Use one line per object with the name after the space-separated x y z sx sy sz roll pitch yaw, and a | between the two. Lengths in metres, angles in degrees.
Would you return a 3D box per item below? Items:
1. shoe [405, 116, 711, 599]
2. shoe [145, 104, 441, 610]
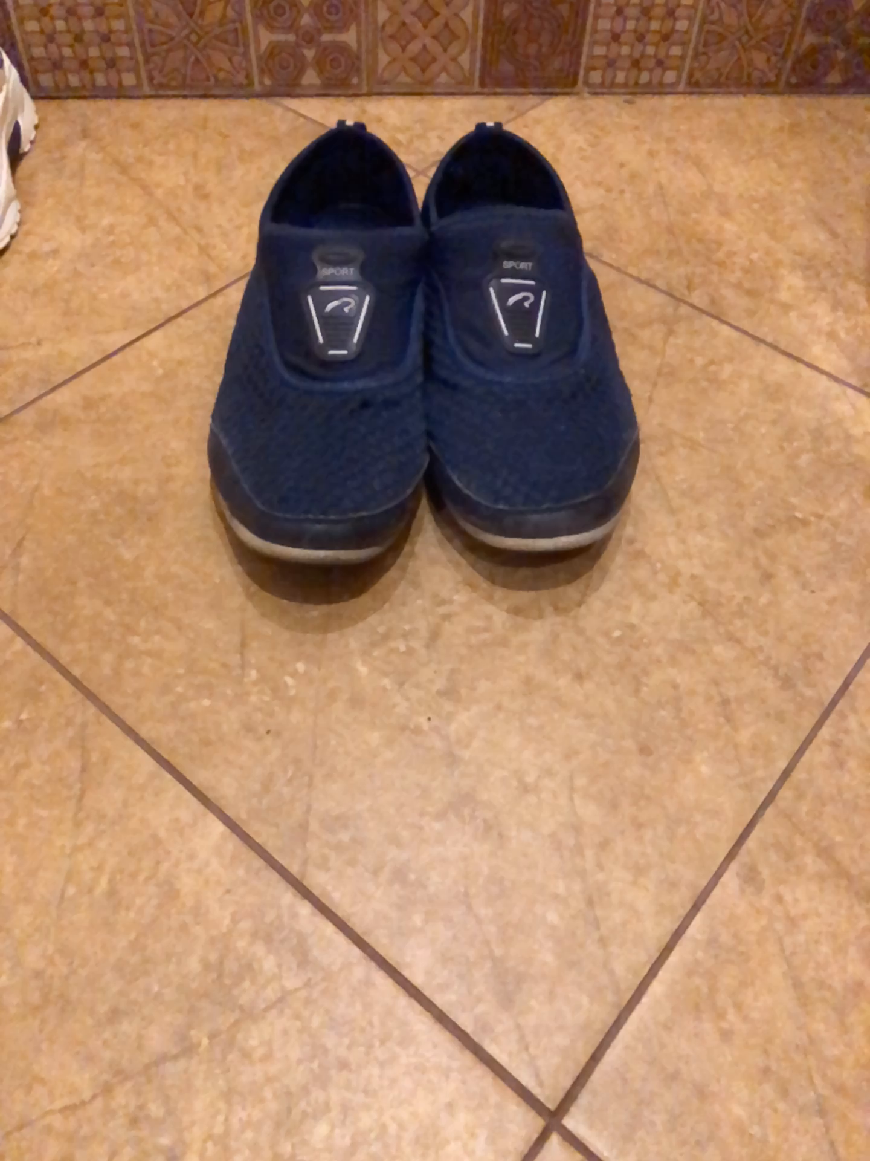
0.046 -0.130 0.494 0.110 0.070 0.292 -1 53 -4 | shoe
-0.055 -0.126 0.474 0.110 0.070 0.292 1 53 -2 | shoe
